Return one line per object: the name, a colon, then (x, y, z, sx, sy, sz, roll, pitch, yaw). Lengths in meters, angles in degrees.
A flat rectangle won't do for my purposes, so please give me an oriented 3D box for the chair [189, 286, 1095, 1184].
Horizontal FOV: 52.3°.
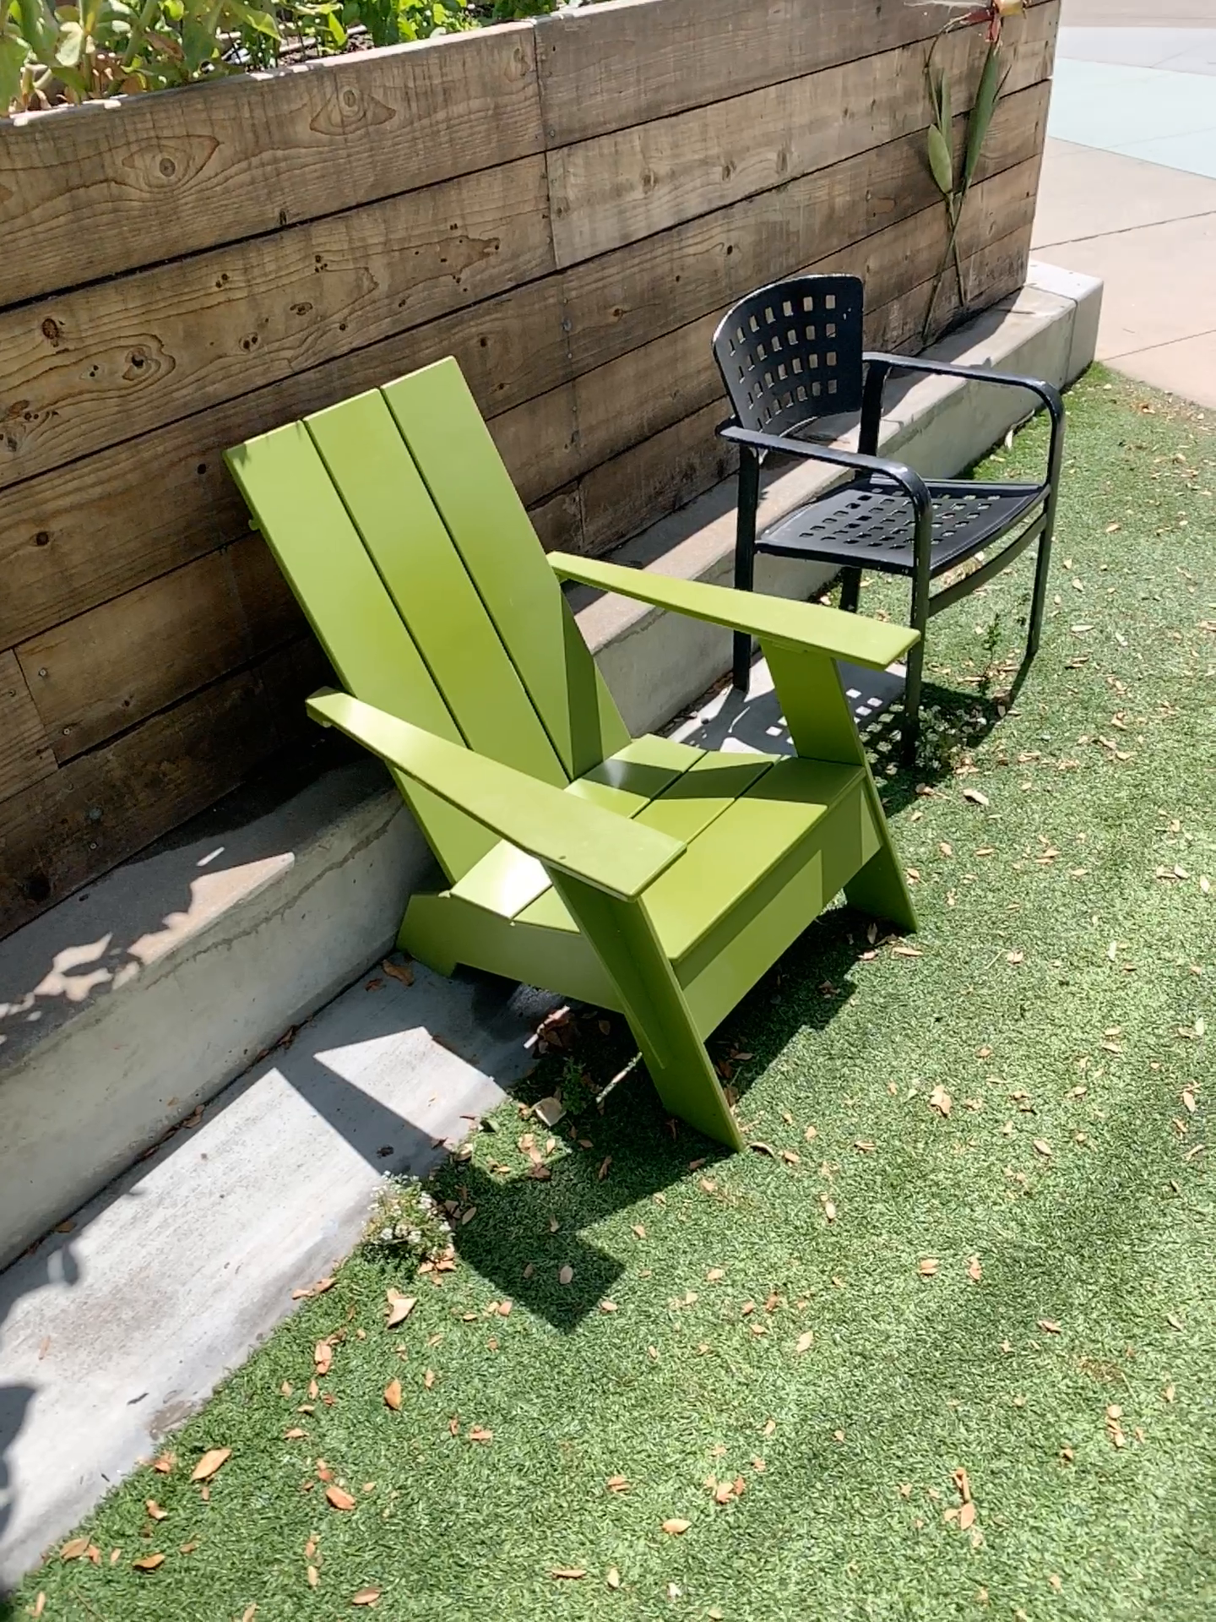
chair: (0.057, -0.186, 1.827, 0.904, 0.845, 0.722, 24, 45, 33)
